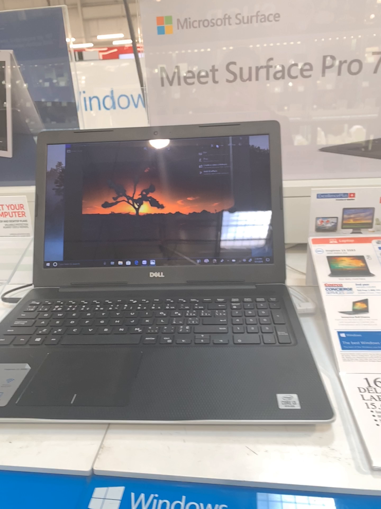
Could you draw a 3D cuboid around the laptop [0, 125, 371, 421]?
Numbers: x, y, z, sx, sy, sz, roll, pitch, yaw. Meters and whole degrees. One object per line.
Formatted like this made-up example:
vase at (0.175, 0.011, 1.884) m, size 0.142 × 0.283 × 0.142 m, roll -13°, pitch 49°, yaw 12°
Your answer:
laptop at (-0.054, -0.023, 0.449) m, size 0.357 × 0.205 × 0.343 m, roll -1°, pitch 21°, yaw 3°
